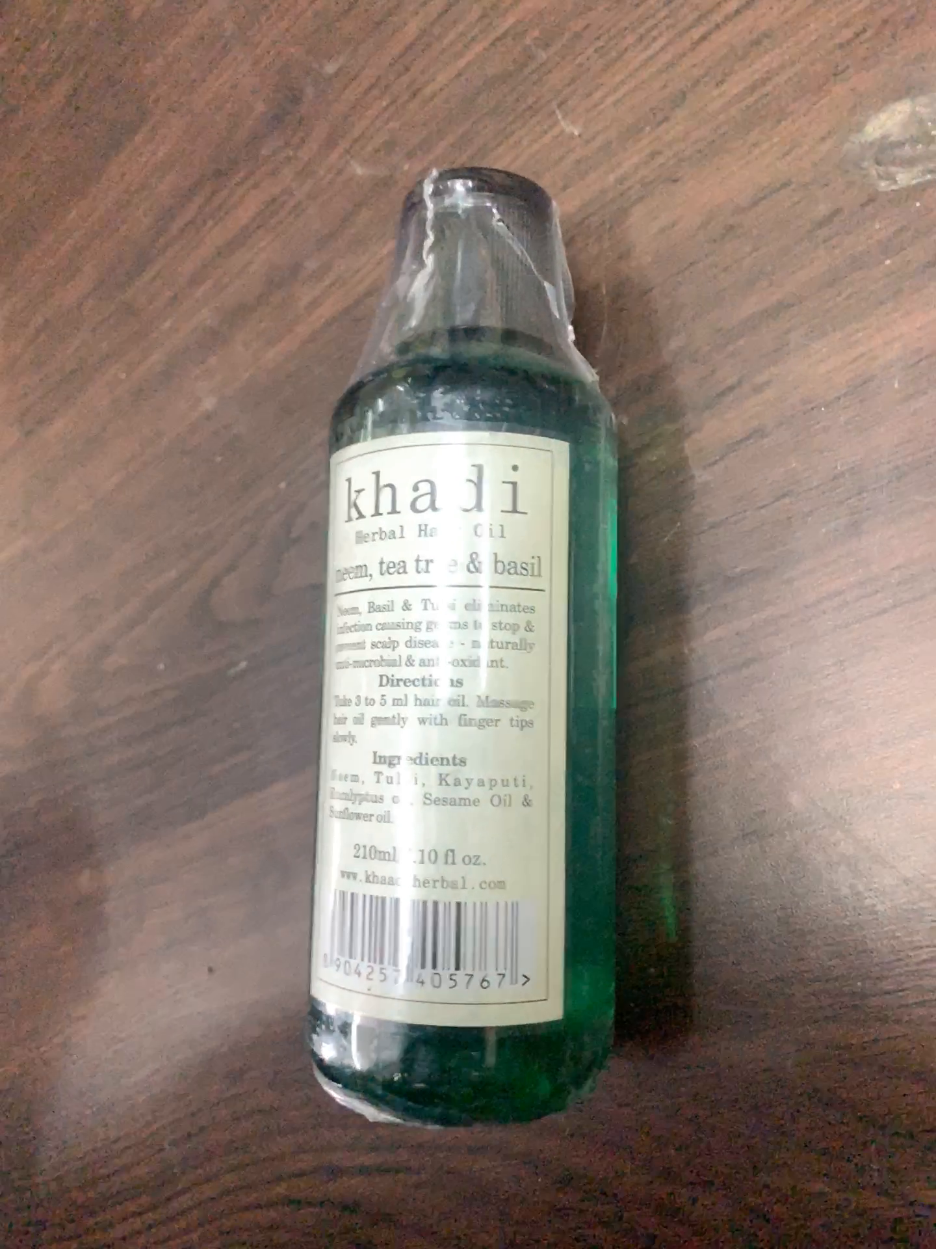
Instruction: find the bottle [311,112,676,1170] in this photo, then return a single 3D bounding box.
[{"bbox_3d":[0.008,0.001,0.167,0.050,0.050,0.150,0,83,9],"label":"bottle"}]
